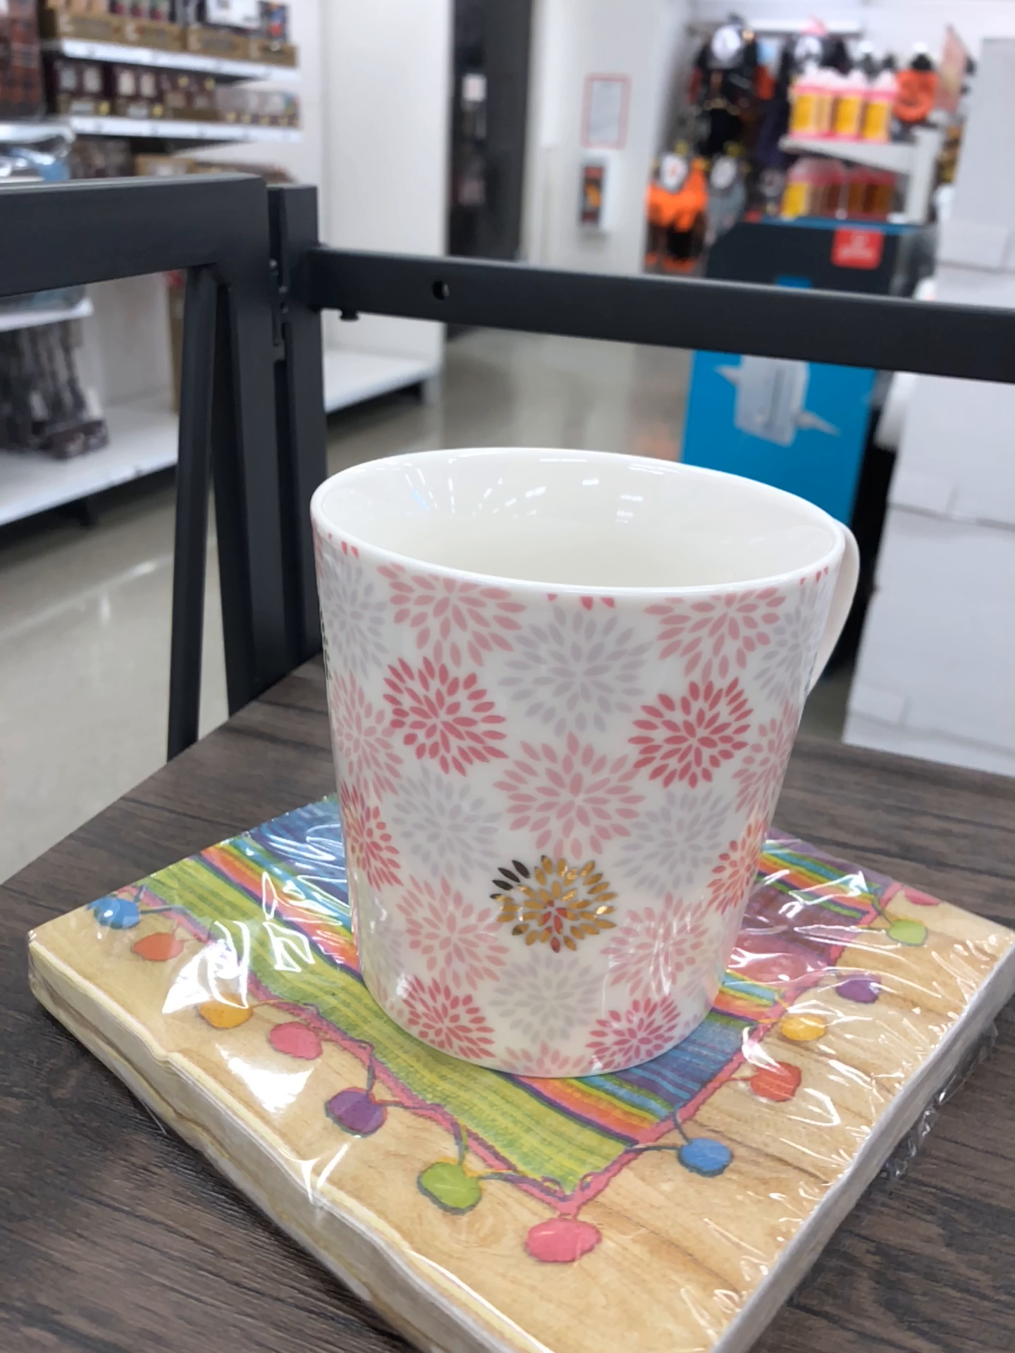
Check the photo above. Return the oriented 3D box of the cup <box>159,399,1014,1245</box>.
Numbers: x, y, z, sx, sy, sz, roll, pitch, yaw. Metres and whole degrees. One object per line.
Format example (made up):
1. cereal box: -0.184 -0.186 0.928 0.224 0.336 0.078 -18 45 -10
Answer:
1. cup: 0.021 0.009 0.237 0.140 0.100 0.100 -21 34 -41
